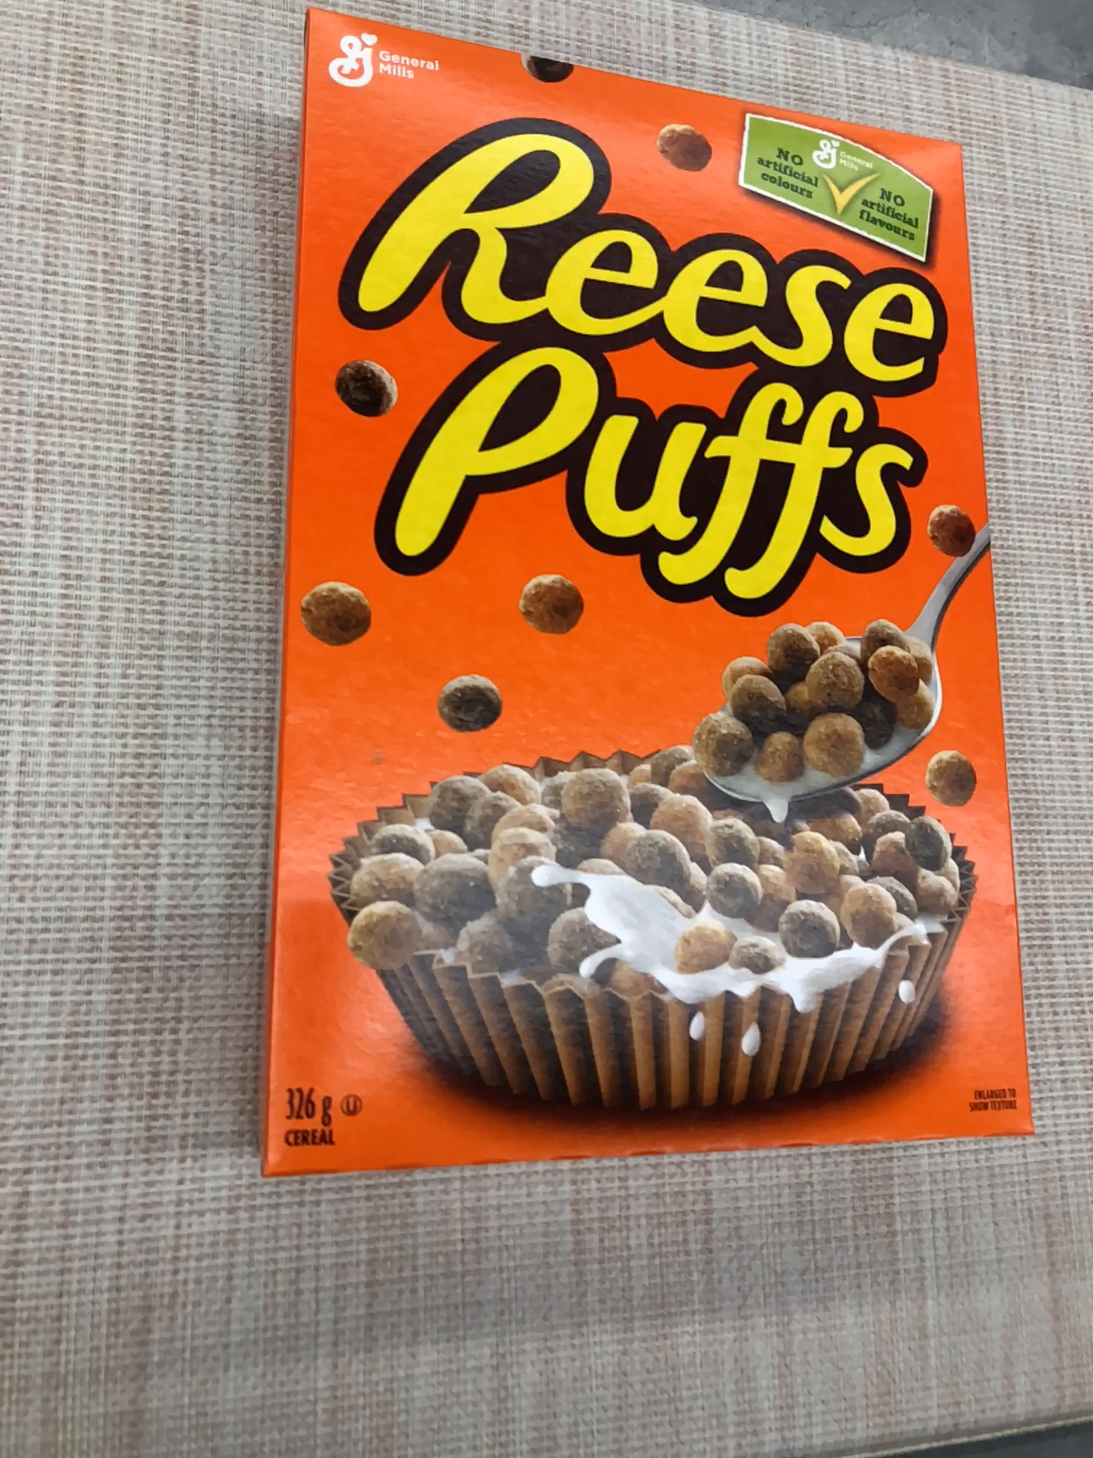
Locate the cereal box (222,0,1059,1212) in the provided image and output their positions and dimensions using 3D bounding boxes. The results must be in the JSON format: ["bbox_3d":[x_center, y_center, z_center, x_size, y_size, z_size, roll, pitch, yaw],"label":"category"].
[{"bbox_3d":[0.025,-0.034,0.321,0.200,0.060,0.280,3,80,-19],"label":"cereal box"}]
